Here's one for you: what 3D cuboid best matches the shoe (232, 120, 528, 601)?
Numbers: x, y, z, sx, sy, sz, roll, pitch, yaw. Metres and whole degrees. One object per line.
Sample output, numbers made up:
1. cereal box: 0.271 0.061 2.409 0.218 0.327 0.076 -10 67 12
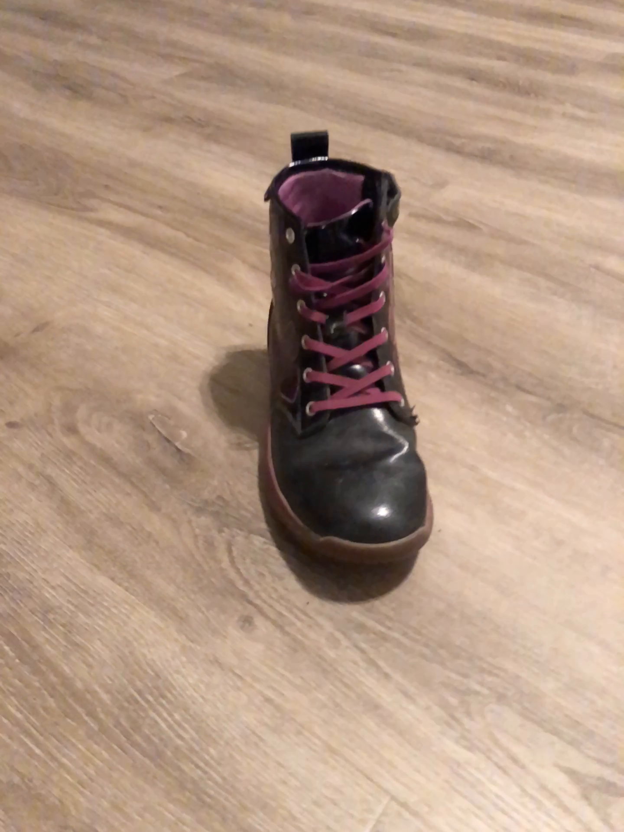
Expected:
1. shoe: 0.015 -0.044 0.383 0.100 0.149 0.231 -4 43 -5
